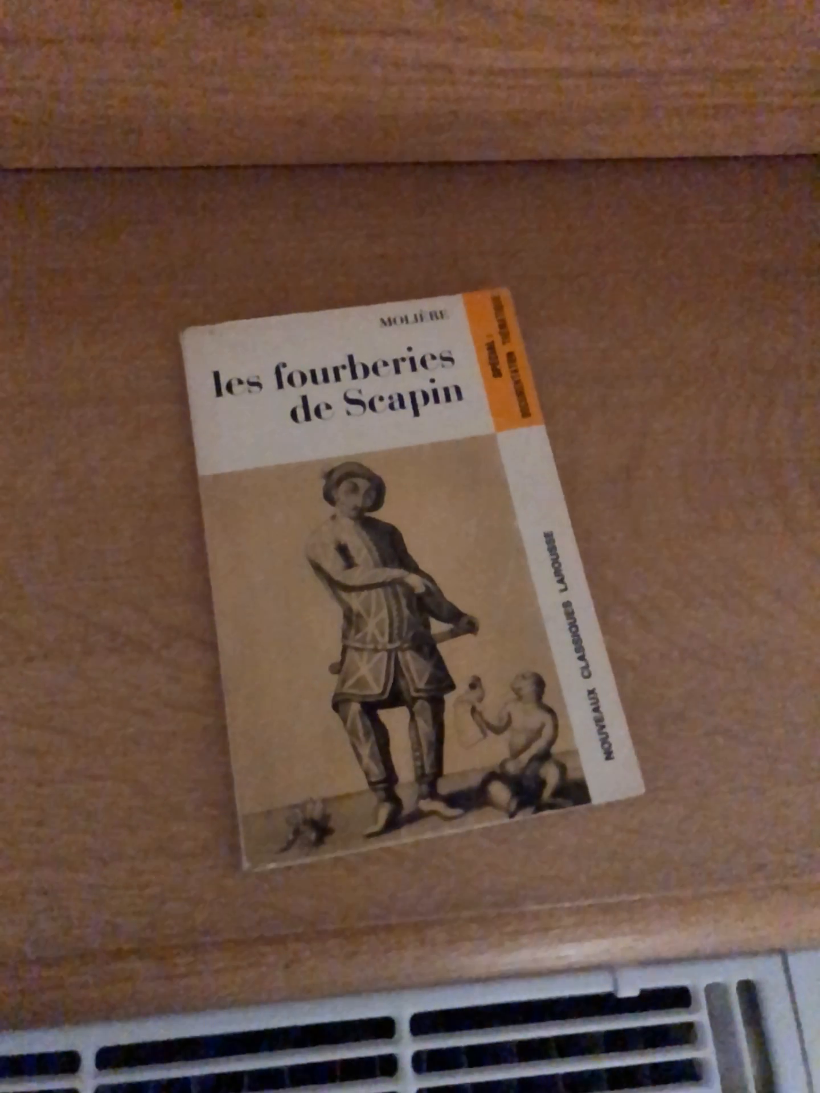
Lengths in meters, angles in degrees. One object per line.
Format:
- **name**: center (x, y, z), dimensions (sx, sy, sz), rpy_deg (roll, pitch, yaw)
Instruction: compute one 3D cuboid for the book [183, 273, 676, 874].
- **book**: center (-0.001, -0.002, 0.280), dimensions (0.117, 0.015, 0.174), rpy_deg (-9, 70, -8)
